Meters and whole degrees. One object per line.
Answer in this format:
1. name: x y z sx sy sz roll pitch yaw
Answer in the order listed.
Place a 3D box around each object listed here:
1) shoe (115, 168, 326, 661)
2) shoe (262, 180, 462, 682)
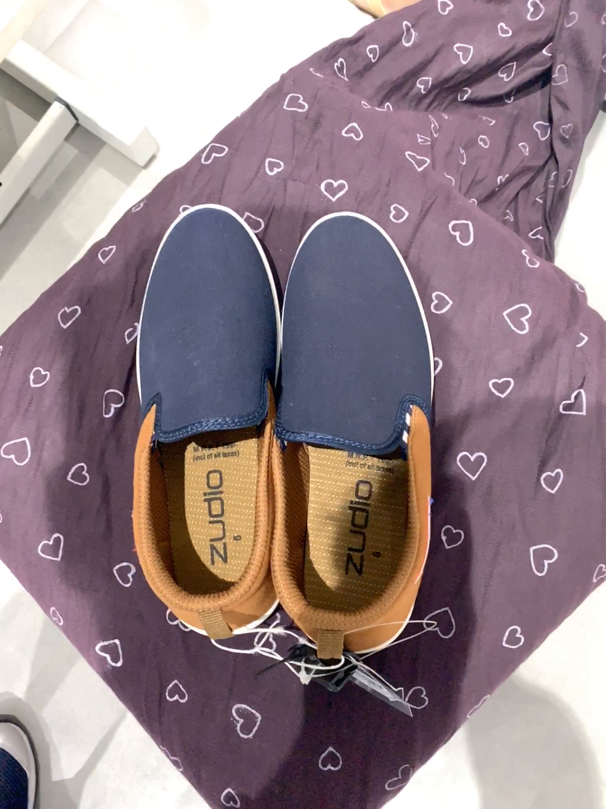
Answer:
1. shoe: -0.050 0.002 0.376 0.100 0.060 0.270 -6 80 3
2. shoe: 0.034 0.010 0.365 0.100 0.060 0.270 1 80 4
